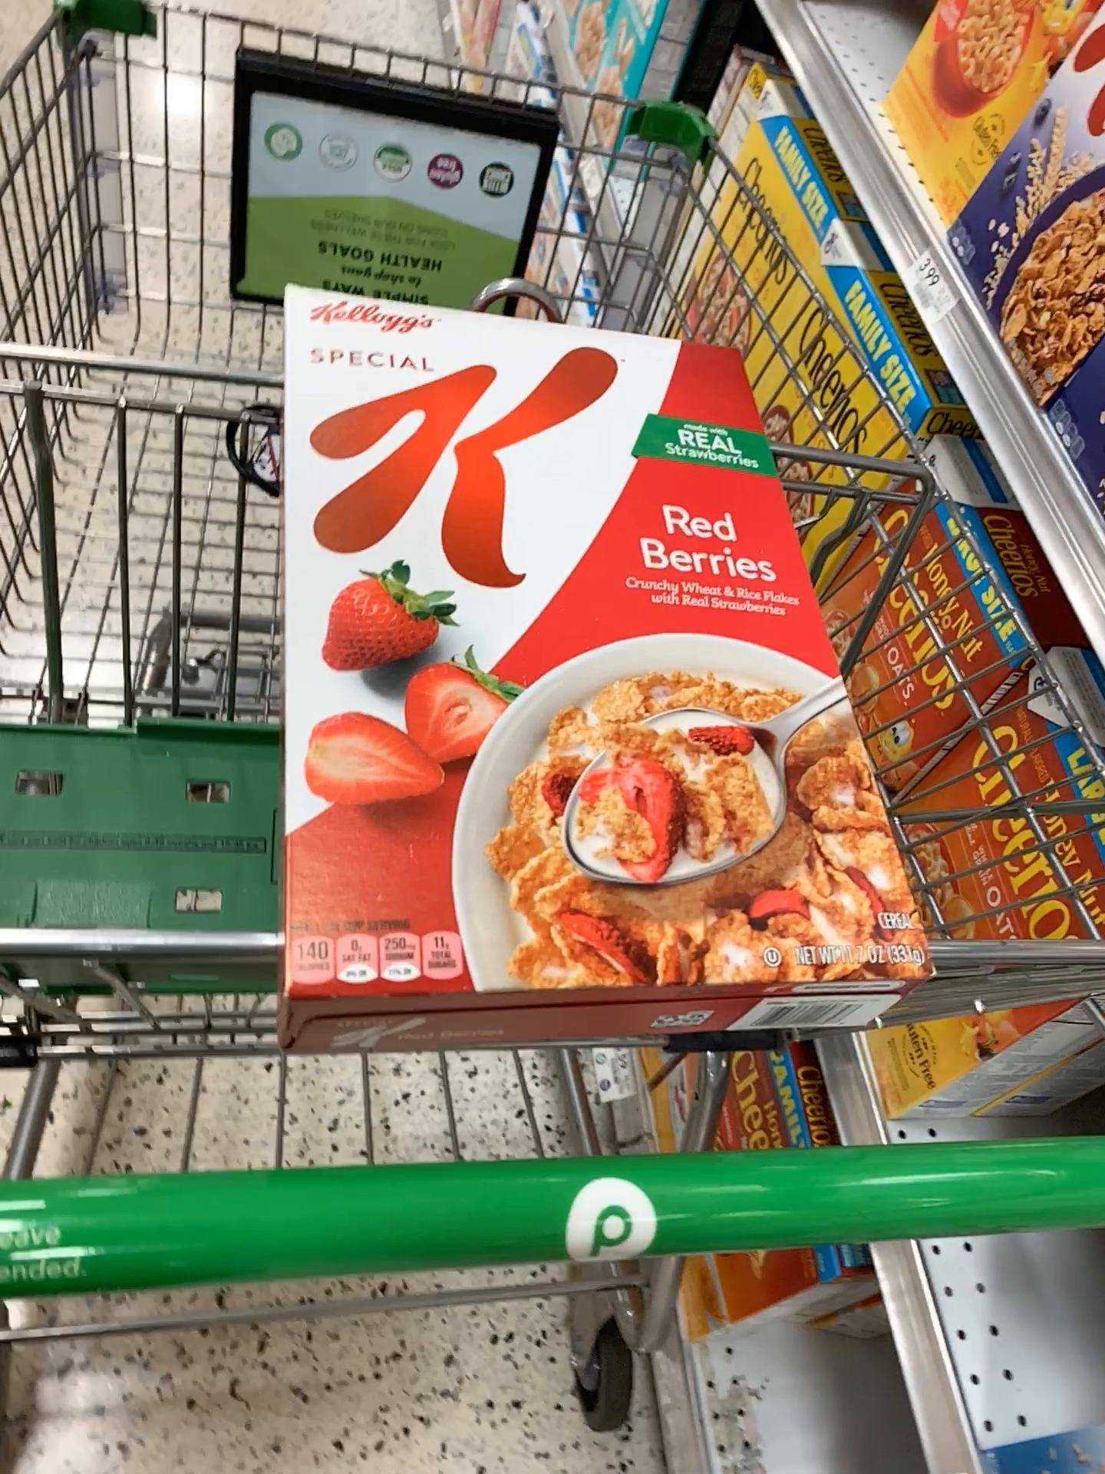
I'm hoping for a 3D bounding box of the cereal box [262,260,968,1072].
[{"bbox_3d":[0.001,-0.040,0.410,0.200,0.059,0.292,2,57,-17],"label":"cereal box"}]
